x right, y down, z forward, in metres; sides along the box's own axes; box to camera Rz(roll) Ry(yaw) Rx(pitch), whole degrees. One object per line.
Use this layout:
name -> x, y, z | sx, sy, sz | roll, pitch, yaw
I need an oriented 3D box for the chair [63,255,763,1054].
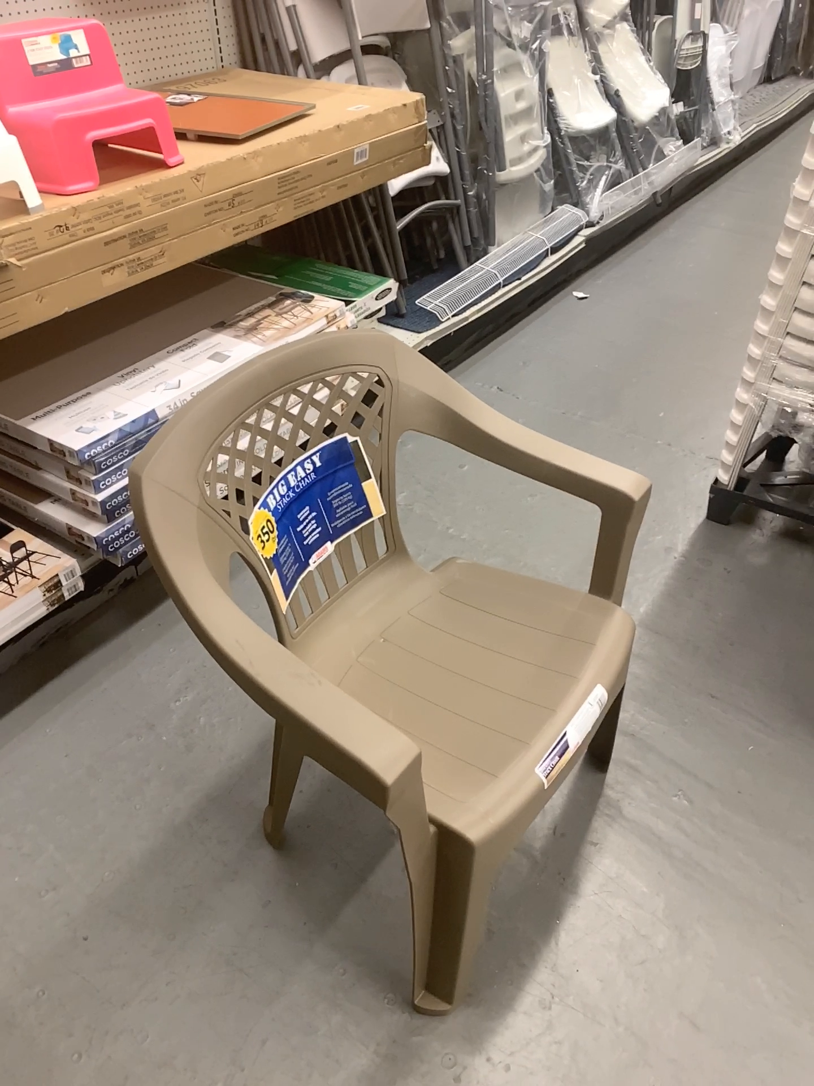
chair -> 0.056, 0.130, 1.364 | 0.588, 0.878, 0.769 | 24, 45, 29
